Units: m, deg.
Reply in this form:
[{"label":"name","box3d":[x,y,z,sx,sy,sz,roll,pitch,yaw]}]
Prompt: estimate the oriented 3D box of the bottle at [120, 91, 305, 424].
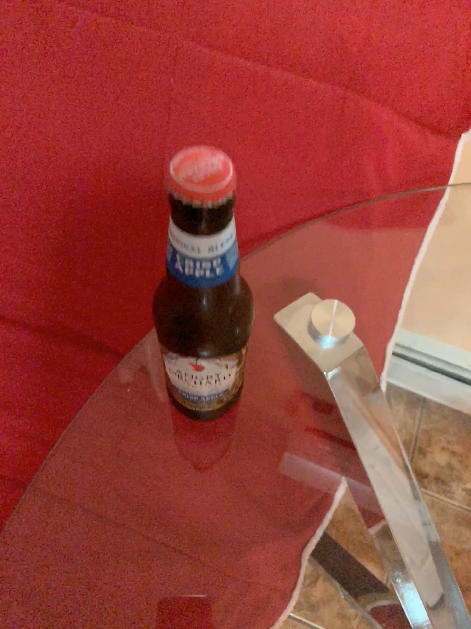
[{"label":"bottle","box3d":[-0.015,-0.008,0.300,0.070,0.232,0.070,2,58,-3]}]
